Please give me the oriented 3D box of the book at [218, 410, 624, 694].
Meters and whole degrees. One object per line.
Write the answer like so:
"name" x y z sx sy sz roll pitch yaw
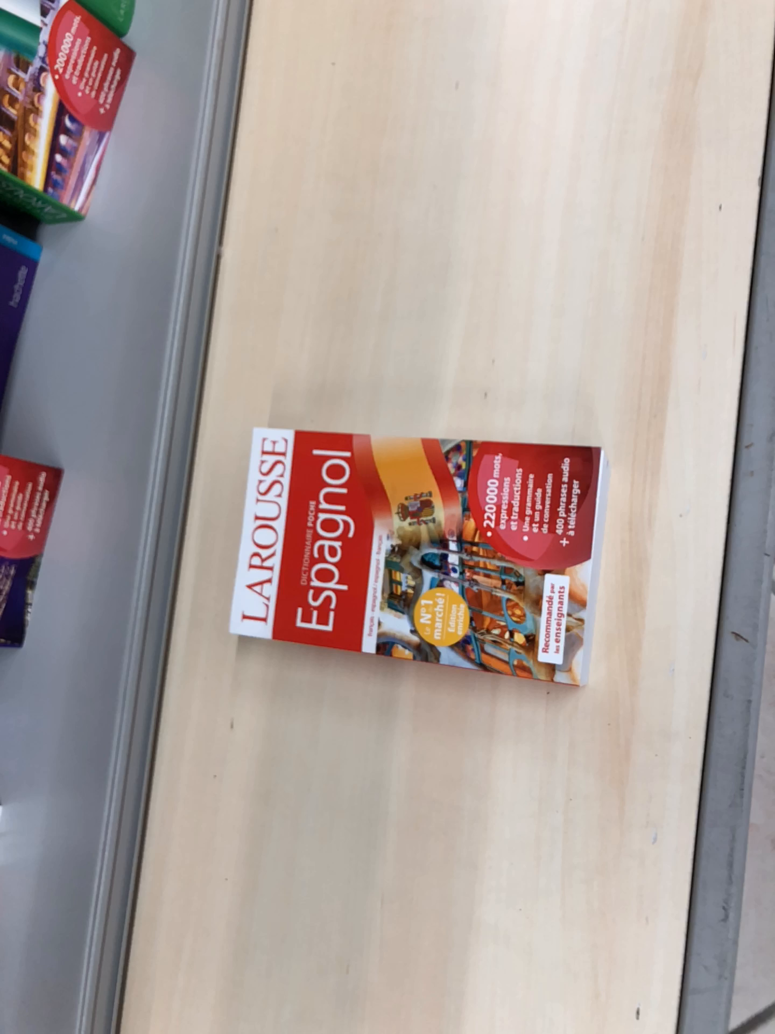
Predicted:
"book" 0.015 0.013 0.424 0.182 0.044 0.117 5 83 20
